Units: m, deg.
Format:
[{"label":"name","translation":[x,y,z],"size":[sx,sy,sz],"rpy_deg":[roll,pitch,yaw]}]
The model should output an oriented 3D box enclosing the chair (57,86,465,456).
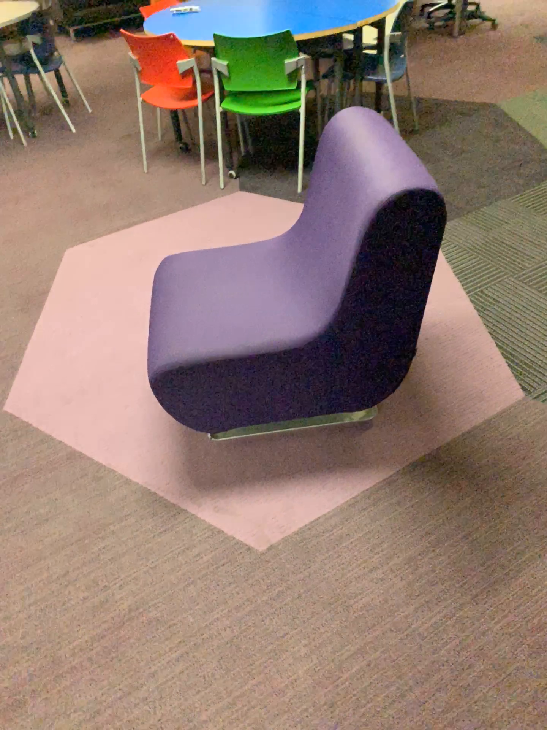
[{"label":"chair","translation":[-0.041,-0.311,1.612],"size":[0.820,0.614,0.808],"rpy_deg":[-9,41,-2]}]
